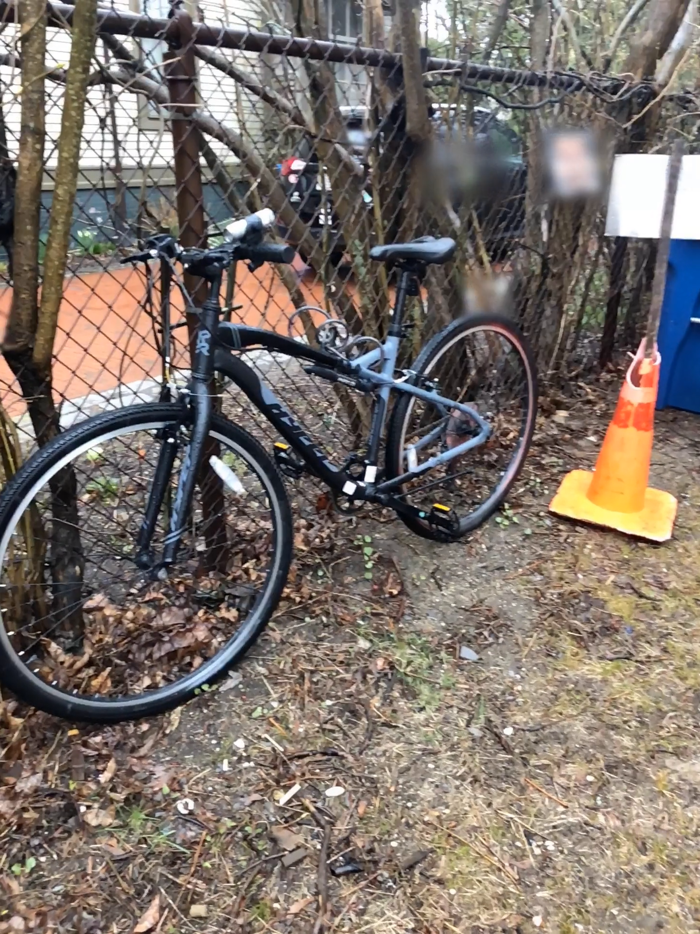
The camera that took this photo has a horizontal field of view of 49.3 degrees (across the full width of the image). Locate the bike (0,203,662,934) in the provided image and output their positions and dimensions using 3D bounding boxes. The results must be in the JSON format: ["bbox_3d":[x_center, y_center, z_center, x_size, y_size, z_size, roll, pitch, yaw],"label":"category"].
[{"bbox_3d":[0.050,0.035,1.993,0.537,1.067,1.892,21,35,41],"label":"bike"}]
